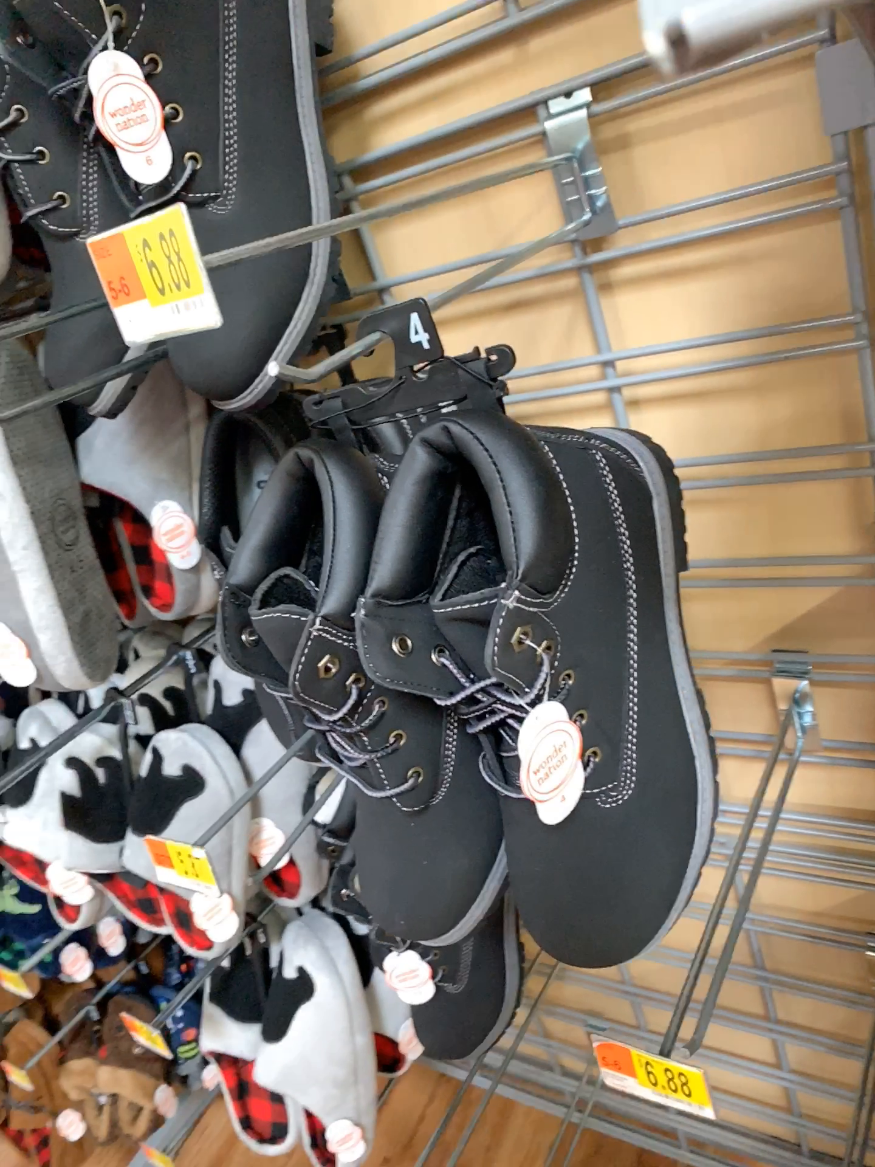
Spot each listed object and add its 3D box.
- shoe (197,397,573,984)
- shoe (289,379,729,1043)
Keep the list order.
[{"bbox_3d":[-0.017,0.038,0.419,0.100,0.229,0.110,2,15,36],"label":"shoe"},{"bbox_3d":[0.036,0.034,0.351,0.100,0.206,0.120,0,13,37],"label":"shoe"}]
